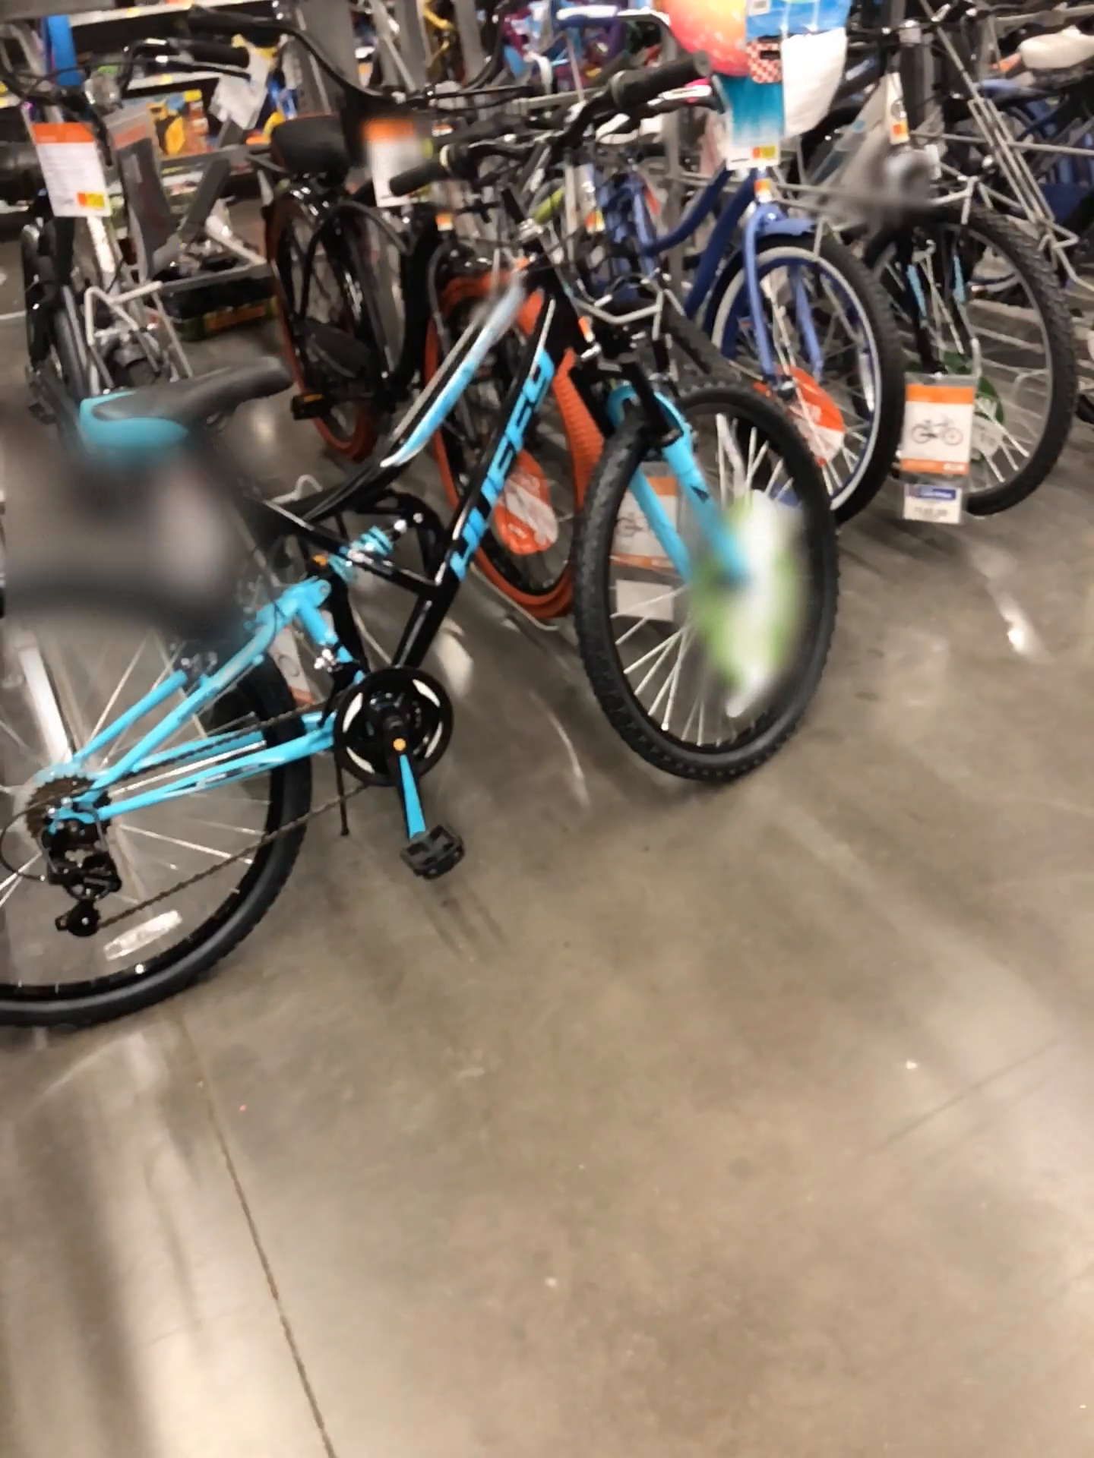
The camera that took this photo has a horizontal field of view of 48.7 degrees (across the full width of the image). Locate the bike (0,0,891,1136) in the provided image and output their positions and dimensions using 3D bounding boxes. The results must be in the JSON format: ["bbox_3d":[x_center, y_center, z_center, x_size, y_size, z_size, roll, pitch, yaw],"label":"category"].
[{"bbox_3d":[-0.299,-0.391,1.854,1.707,1.120,0.546,-25,39,-23],"label":"bike"}]
